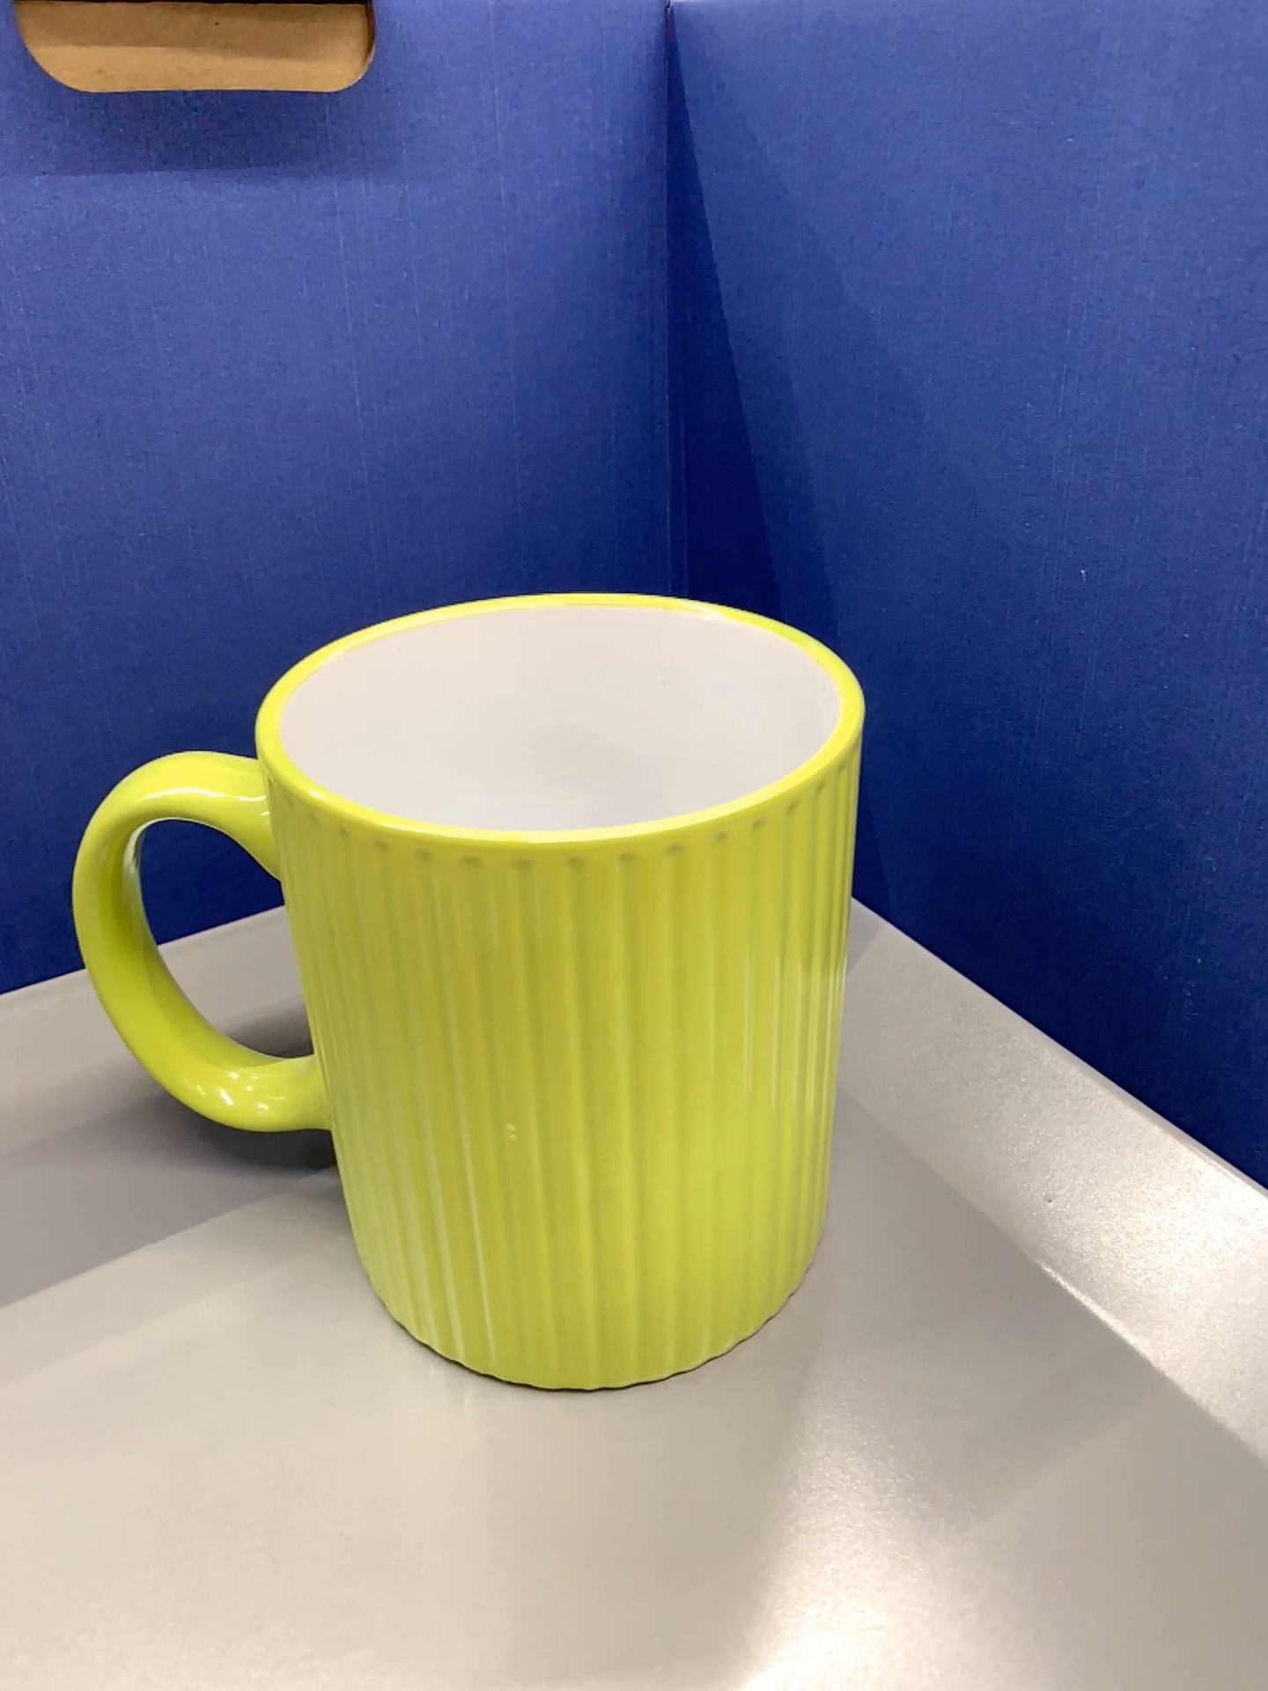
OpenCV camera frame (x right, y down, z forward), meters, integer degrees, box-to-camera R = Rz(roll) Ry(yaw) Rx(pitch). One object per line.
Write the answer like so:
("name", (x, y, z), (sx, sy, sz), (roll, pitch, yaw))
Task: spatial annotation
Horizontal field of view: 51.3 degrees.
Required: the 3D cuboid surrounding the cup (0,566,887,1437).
("cup", (-0.027, 0.017, 0.217), (0.129, 0.098, 0.091), (3, 28, 9))
